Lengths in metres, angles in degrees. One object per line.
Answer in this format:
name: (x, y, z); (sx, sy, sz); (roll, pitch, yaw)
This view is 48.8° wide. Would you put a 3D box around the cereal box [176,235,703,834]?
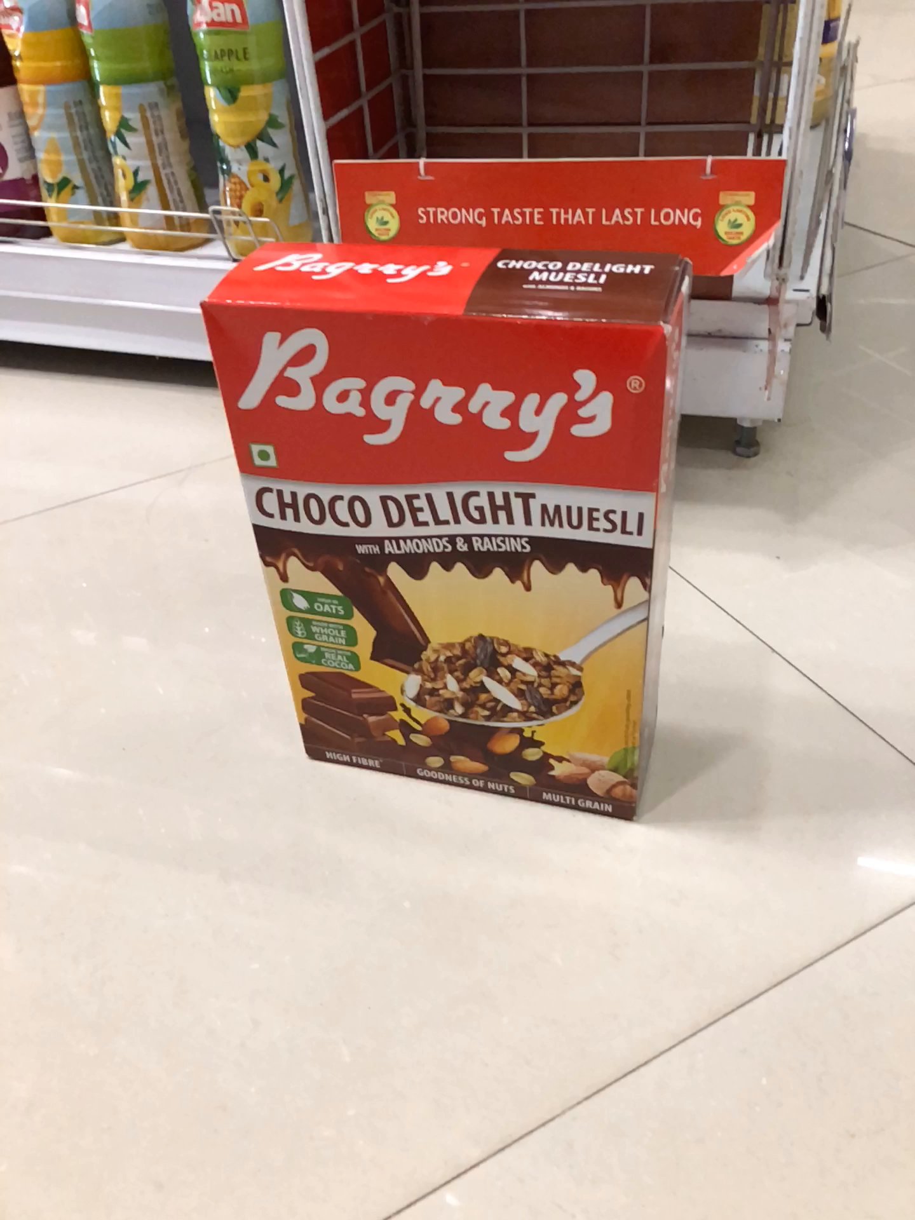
cereal box: (0.001, -0.027, 0.466); (0.190, 0.258, 0.070); (8, 40, 16)
